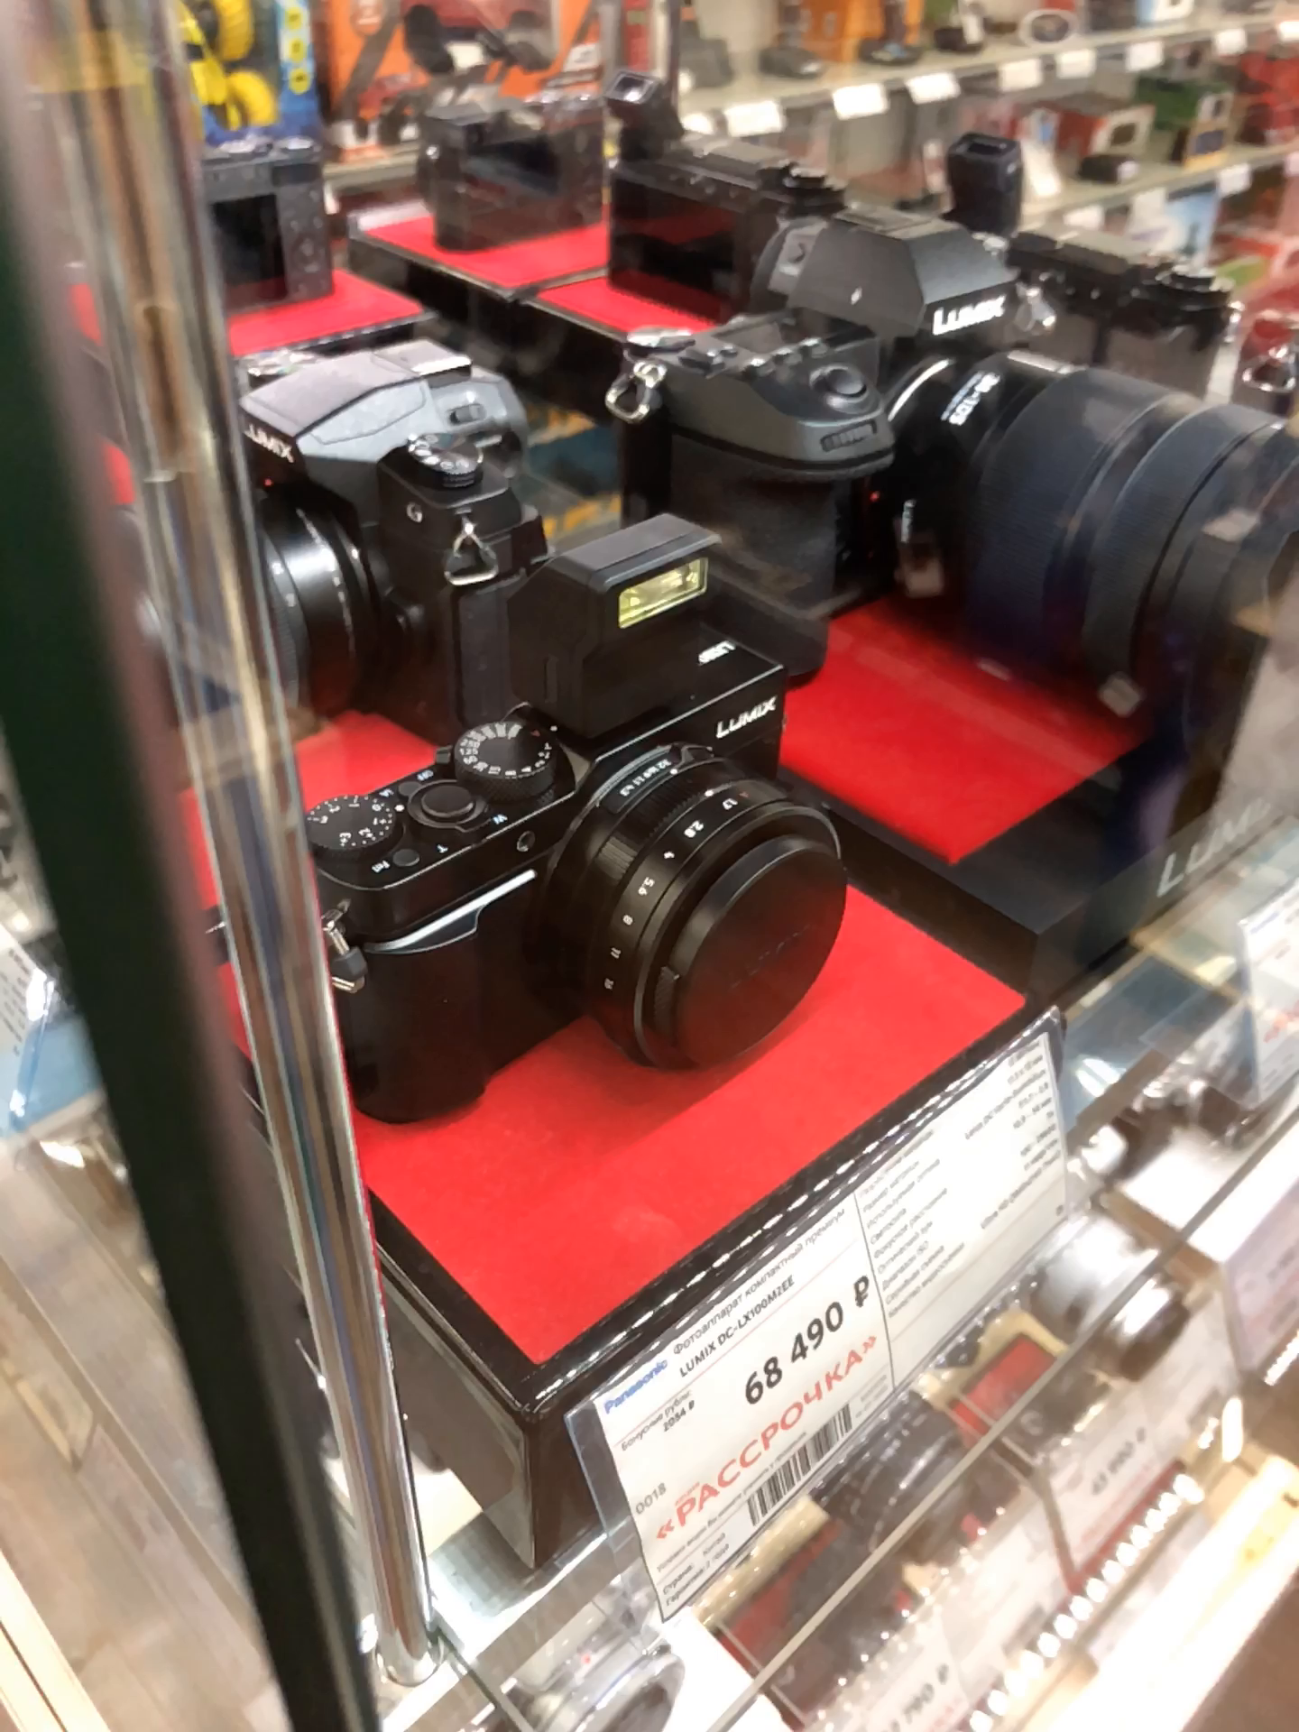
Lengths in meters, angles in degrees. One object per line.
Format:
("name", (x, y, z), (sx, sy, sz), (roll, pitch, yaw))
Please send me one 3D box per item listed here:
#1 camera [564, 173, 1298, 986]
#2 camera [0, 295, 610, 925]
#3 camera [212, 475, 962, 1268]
("camera", (0.116, -0.105, 0.417), (0.176, 0.114, 0.226), (-29, 47, -34))
("camera", (-0.099, -0.072, 0.352), (0.149, 0.081, 0.099), (-27, 46, -32))
("camera", (-0.009, -0.005, 0.287), (0.117, 0.098, 0.069), (-29, 47, -34))
